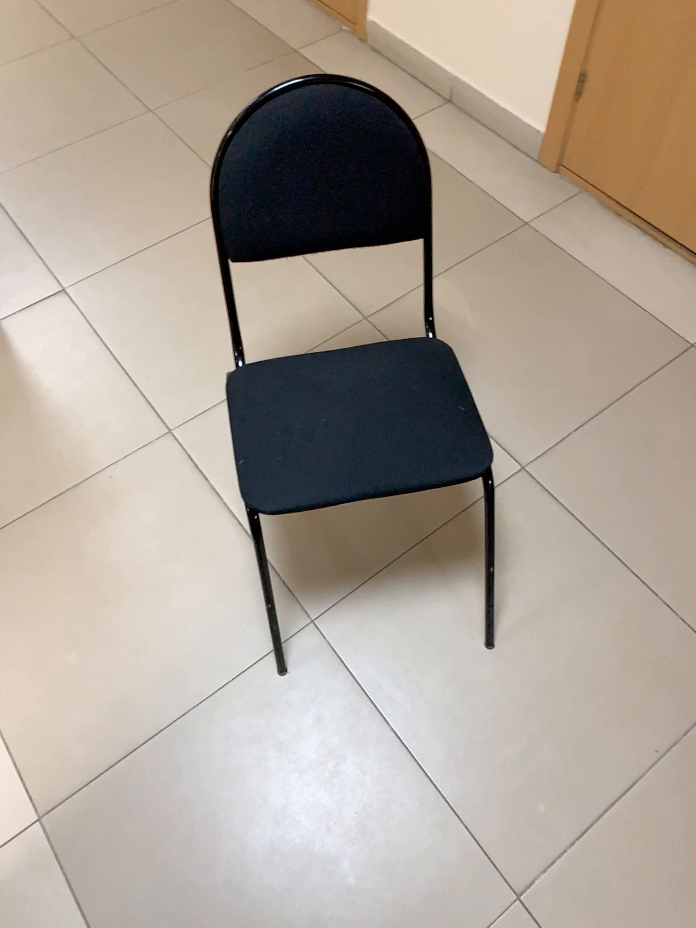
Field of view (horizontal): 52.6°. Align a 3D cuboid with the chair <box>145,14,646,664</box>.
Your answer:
[{"bbox_3d":[0.009,-0.152,1.200,0.480,0.775,0.694,-9,59,-4],"label":"chair"}]
